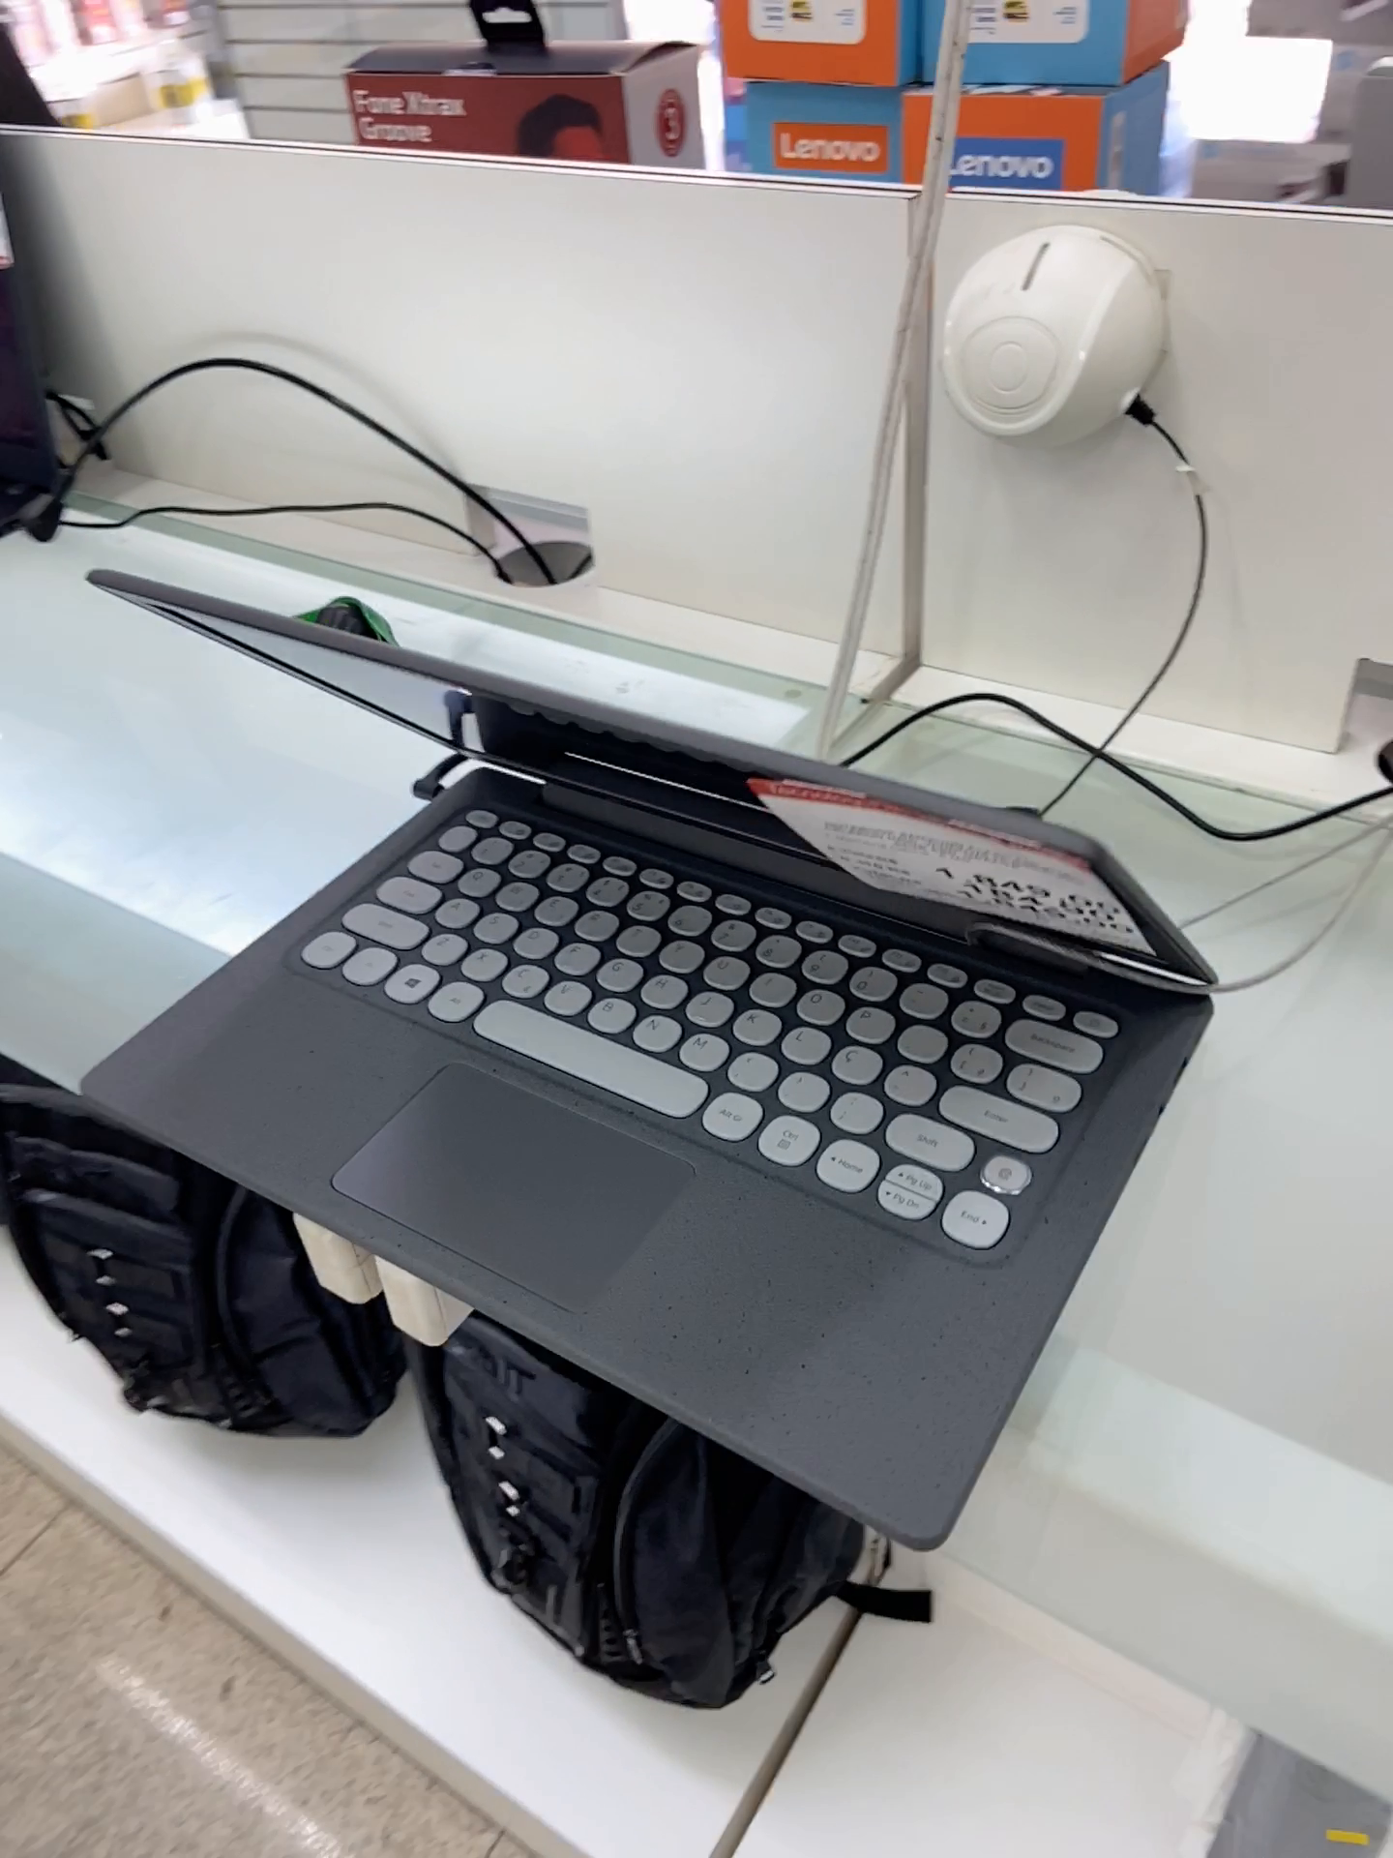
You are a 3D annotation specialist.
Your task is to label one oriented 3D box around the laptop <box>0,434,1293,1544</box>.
[{"bbox_3d":[-0.025,-0.017,0.429,0.311,0.153,0.208,18,46,28],"label":"laptop"}]
